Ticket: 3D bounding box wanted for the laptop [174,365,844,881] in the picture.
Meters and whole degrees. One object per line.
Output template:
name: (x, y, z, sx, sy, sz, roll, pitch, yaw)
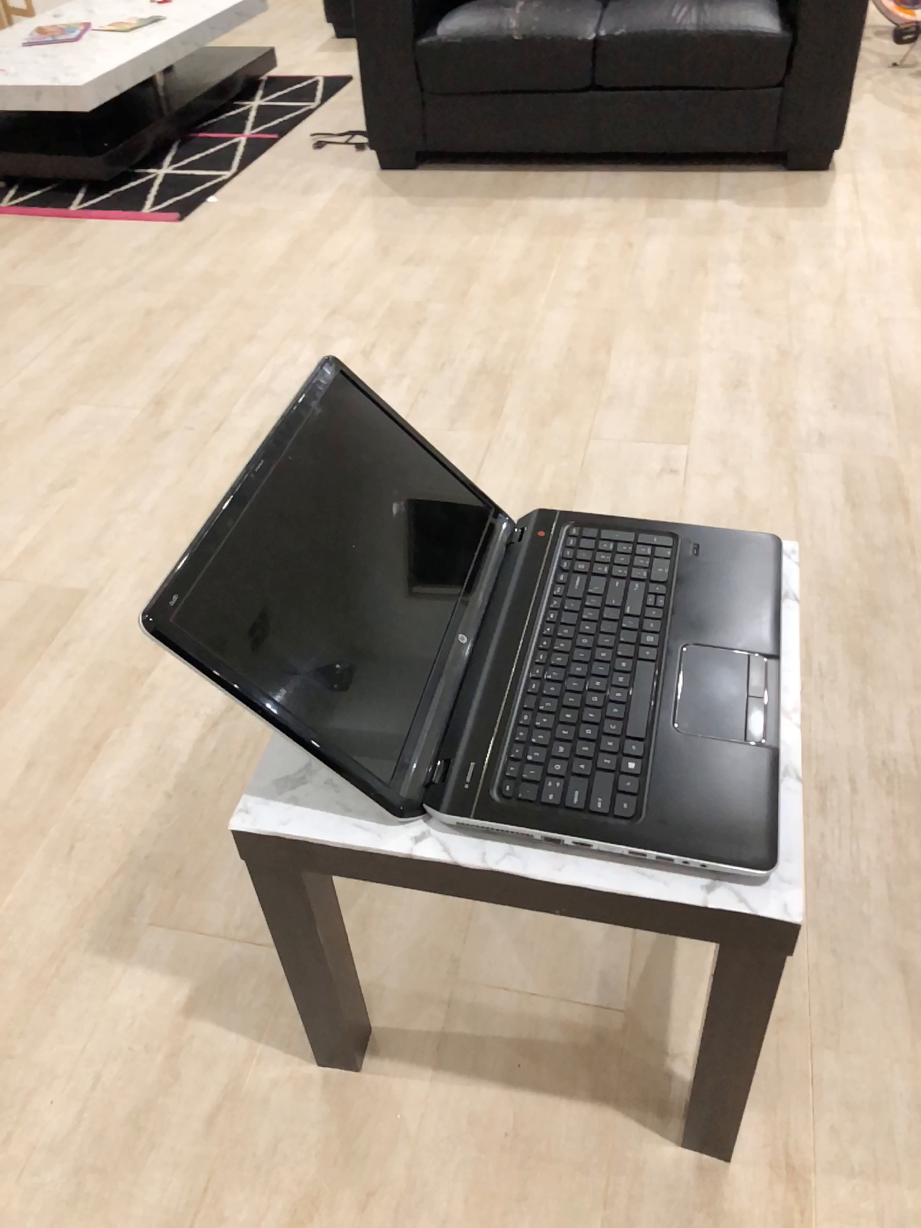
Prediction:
laptop: (0.064, -0.026, 0.842, 0.438, 0.169, 0.388, 6, 43, 12)
